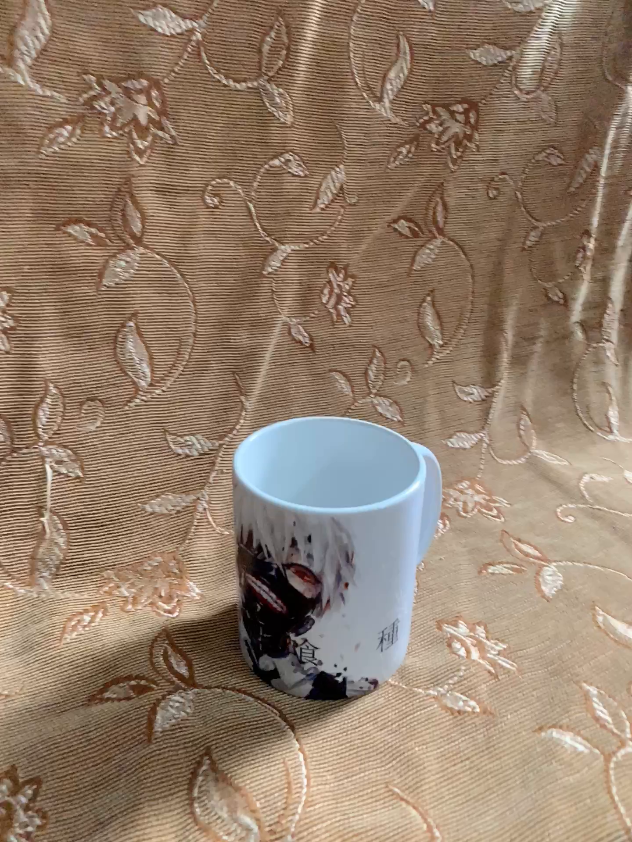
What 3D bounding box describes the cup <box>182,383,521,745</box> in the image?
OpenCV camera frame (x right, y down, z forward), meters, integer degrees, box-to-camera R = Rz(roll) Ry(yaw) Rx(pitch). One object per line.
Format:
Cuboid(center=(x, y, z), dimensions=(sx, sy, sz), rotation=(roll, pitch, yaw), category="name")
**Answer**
Cuboid(center=(0.014, 0.055, 0.297), dimensions=(0.121, 0.101, 0.080), rotation=(-15, 30, -30), category="cup")
